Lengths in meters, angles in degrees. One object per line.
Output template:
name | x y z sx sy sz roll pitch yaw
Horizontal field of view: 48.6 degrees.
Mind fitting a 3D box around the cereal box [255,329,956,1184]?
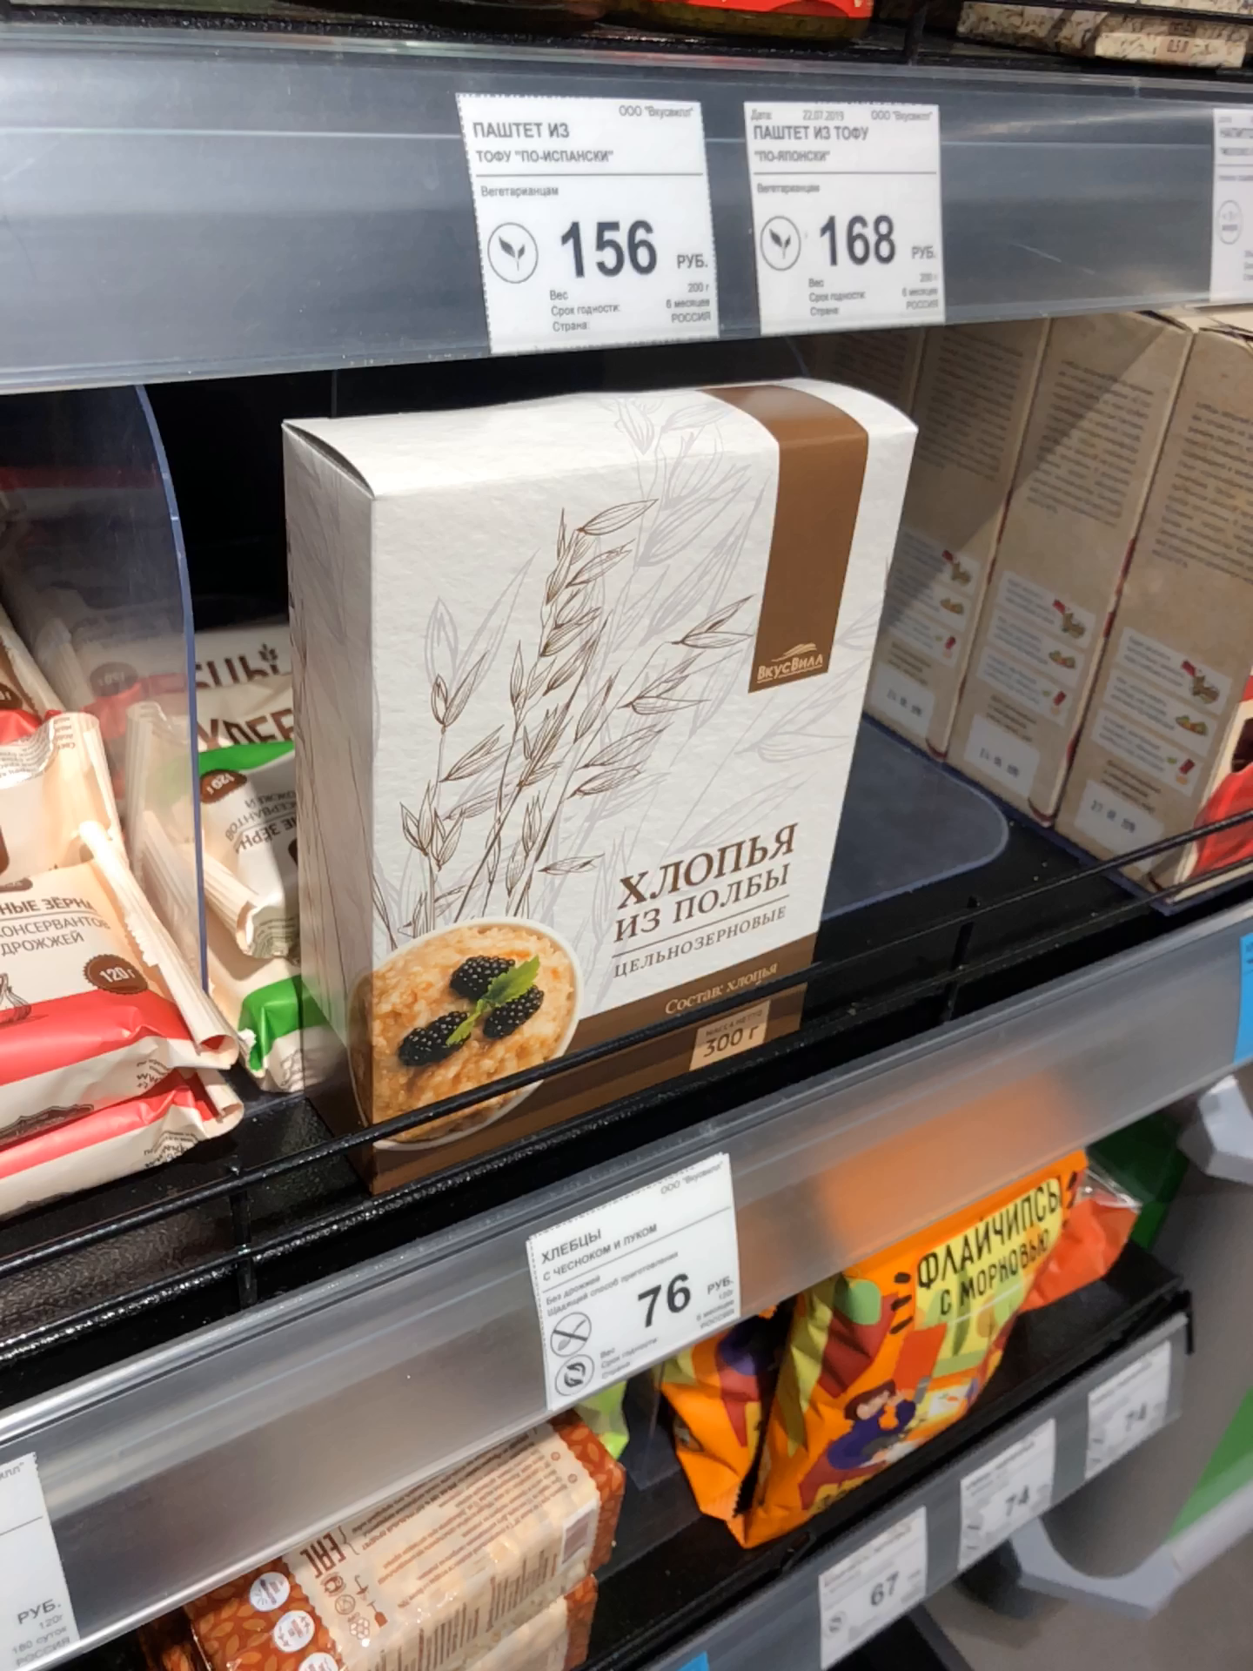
cereal box | -0.008 -0.021 0.354 0.150 0.189 0.050 -15 37 -29
